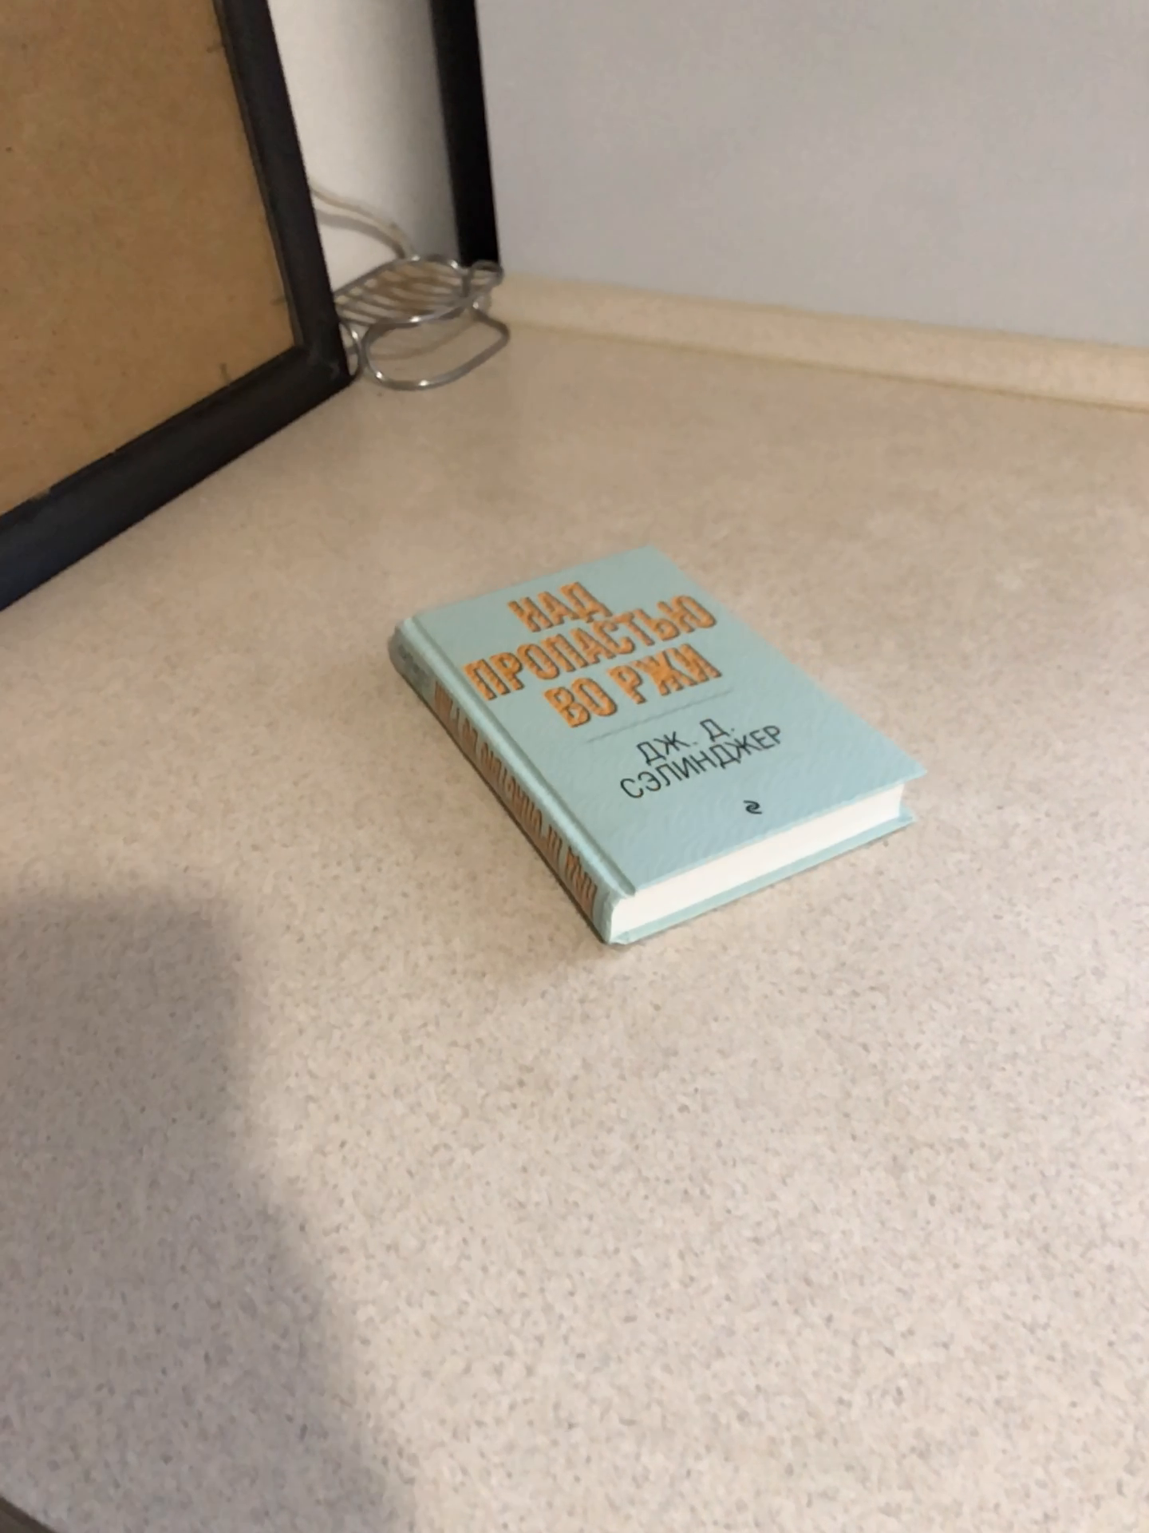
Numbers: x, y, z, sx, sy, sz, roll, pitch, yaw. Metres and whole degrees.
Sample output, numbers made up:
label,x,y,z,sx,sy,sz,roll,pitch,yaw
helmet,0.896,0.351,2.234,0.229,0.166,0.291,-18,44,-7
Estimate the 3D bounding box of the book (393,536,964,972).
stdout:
label,x,y,z,sx,sy,sz,roll,pitch,yaw
book,0.025,-0.018,0.435,0.118,0.020,0.181,-20,41,-19
